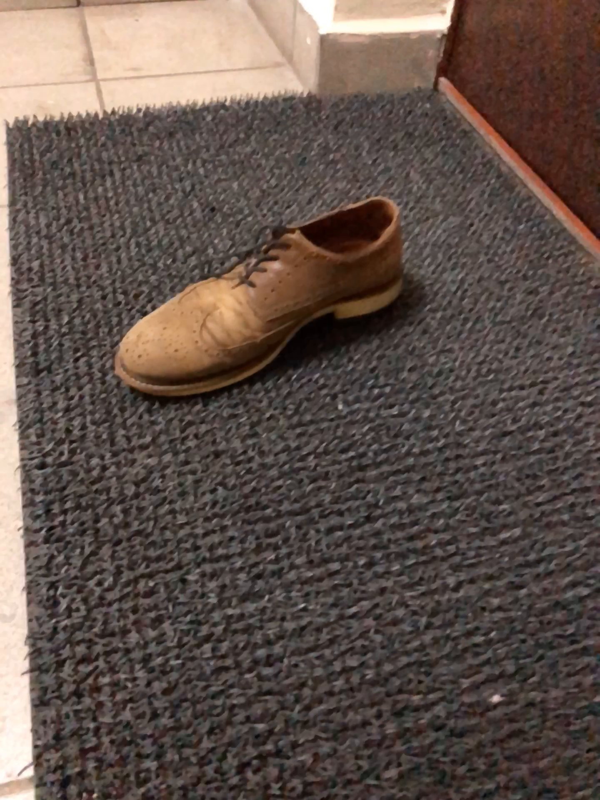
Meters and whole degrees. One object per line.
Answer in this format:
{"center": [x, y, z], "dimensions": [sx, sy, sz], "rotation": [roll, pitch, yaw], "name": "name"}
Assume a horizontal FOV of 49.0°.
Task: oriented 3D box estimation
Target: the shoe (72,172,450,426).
{"center": [-0.029, -0.100, 0.591], "dimensions": [0.301, 0.099, 0.111], "rotation": [-22, 54, -22], "name": "shoe"}
